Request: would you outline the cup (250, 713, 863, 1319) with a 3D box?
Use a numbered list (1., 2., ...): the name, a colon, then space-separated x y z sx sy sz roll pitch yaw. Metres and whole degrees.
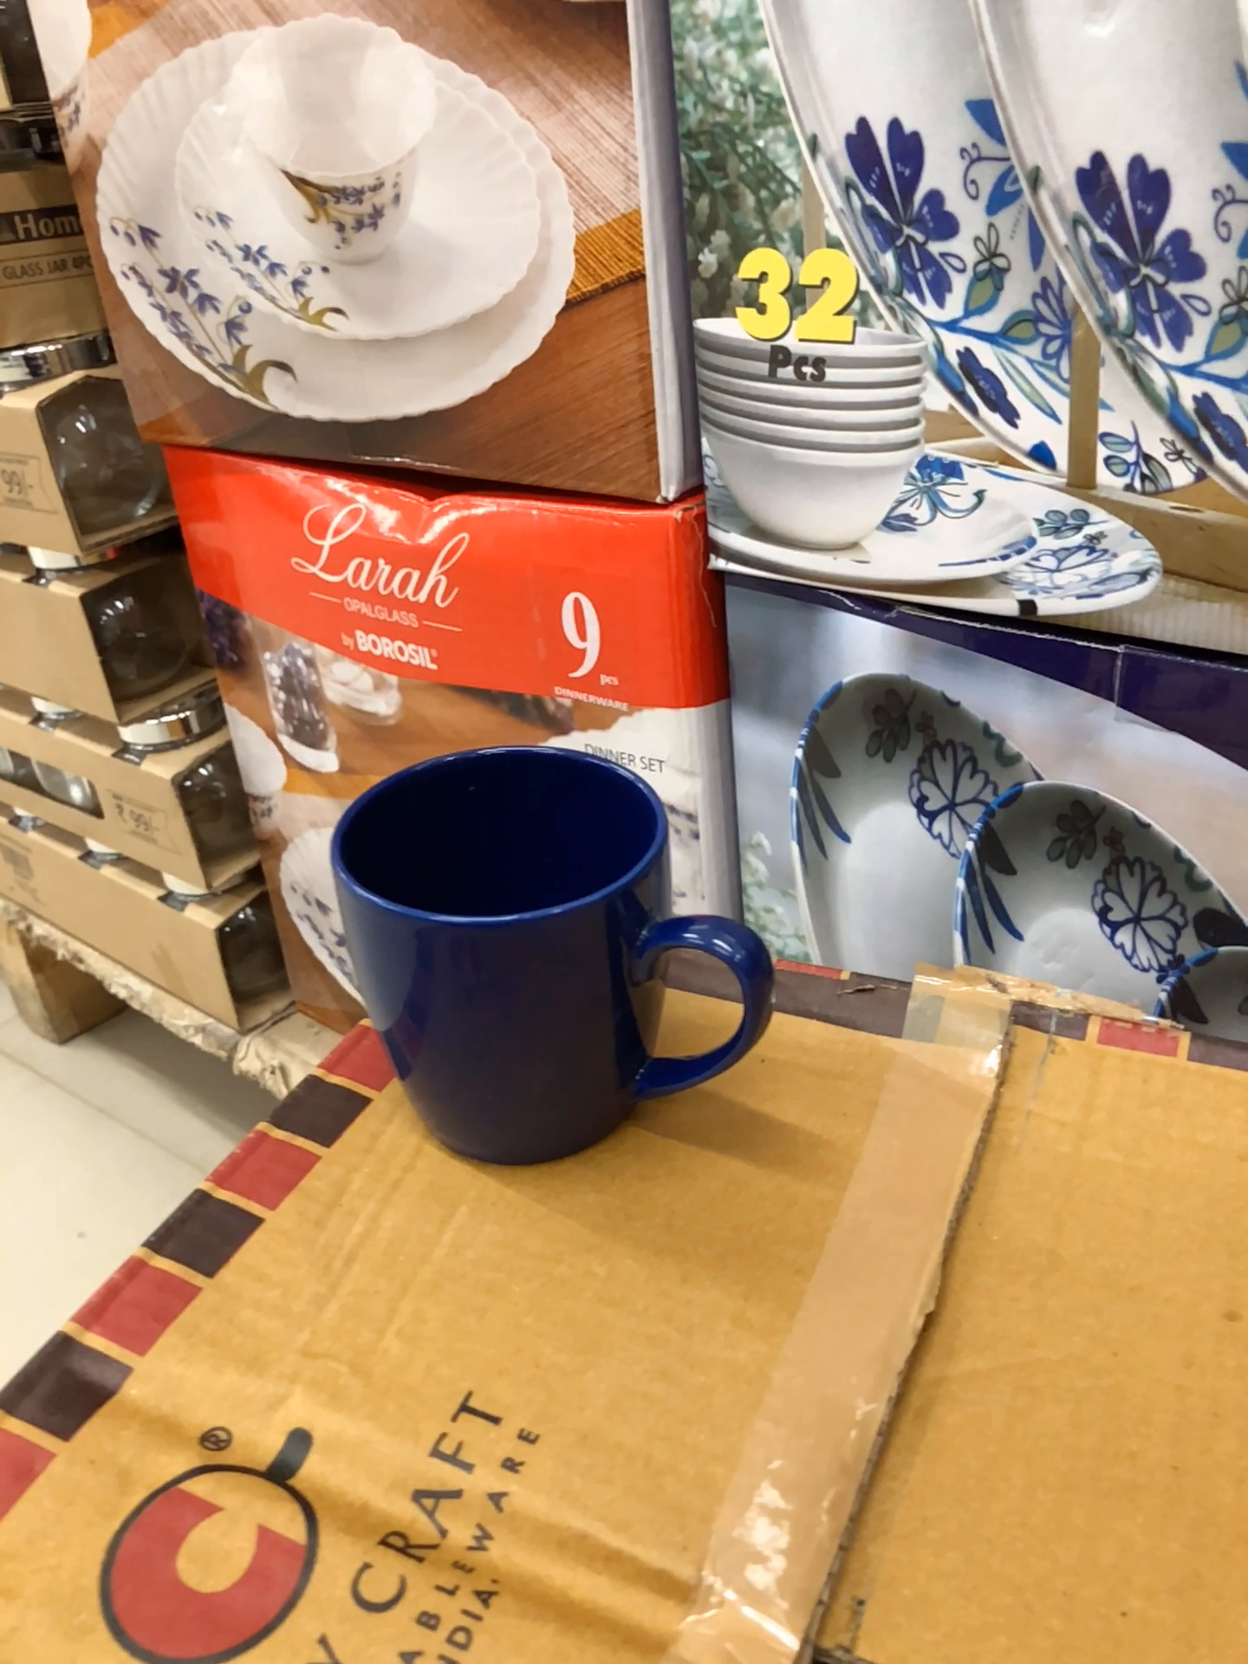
1. cup: -0.010 0.032 0.294 0.100 0.079 0.070 13 33 31
